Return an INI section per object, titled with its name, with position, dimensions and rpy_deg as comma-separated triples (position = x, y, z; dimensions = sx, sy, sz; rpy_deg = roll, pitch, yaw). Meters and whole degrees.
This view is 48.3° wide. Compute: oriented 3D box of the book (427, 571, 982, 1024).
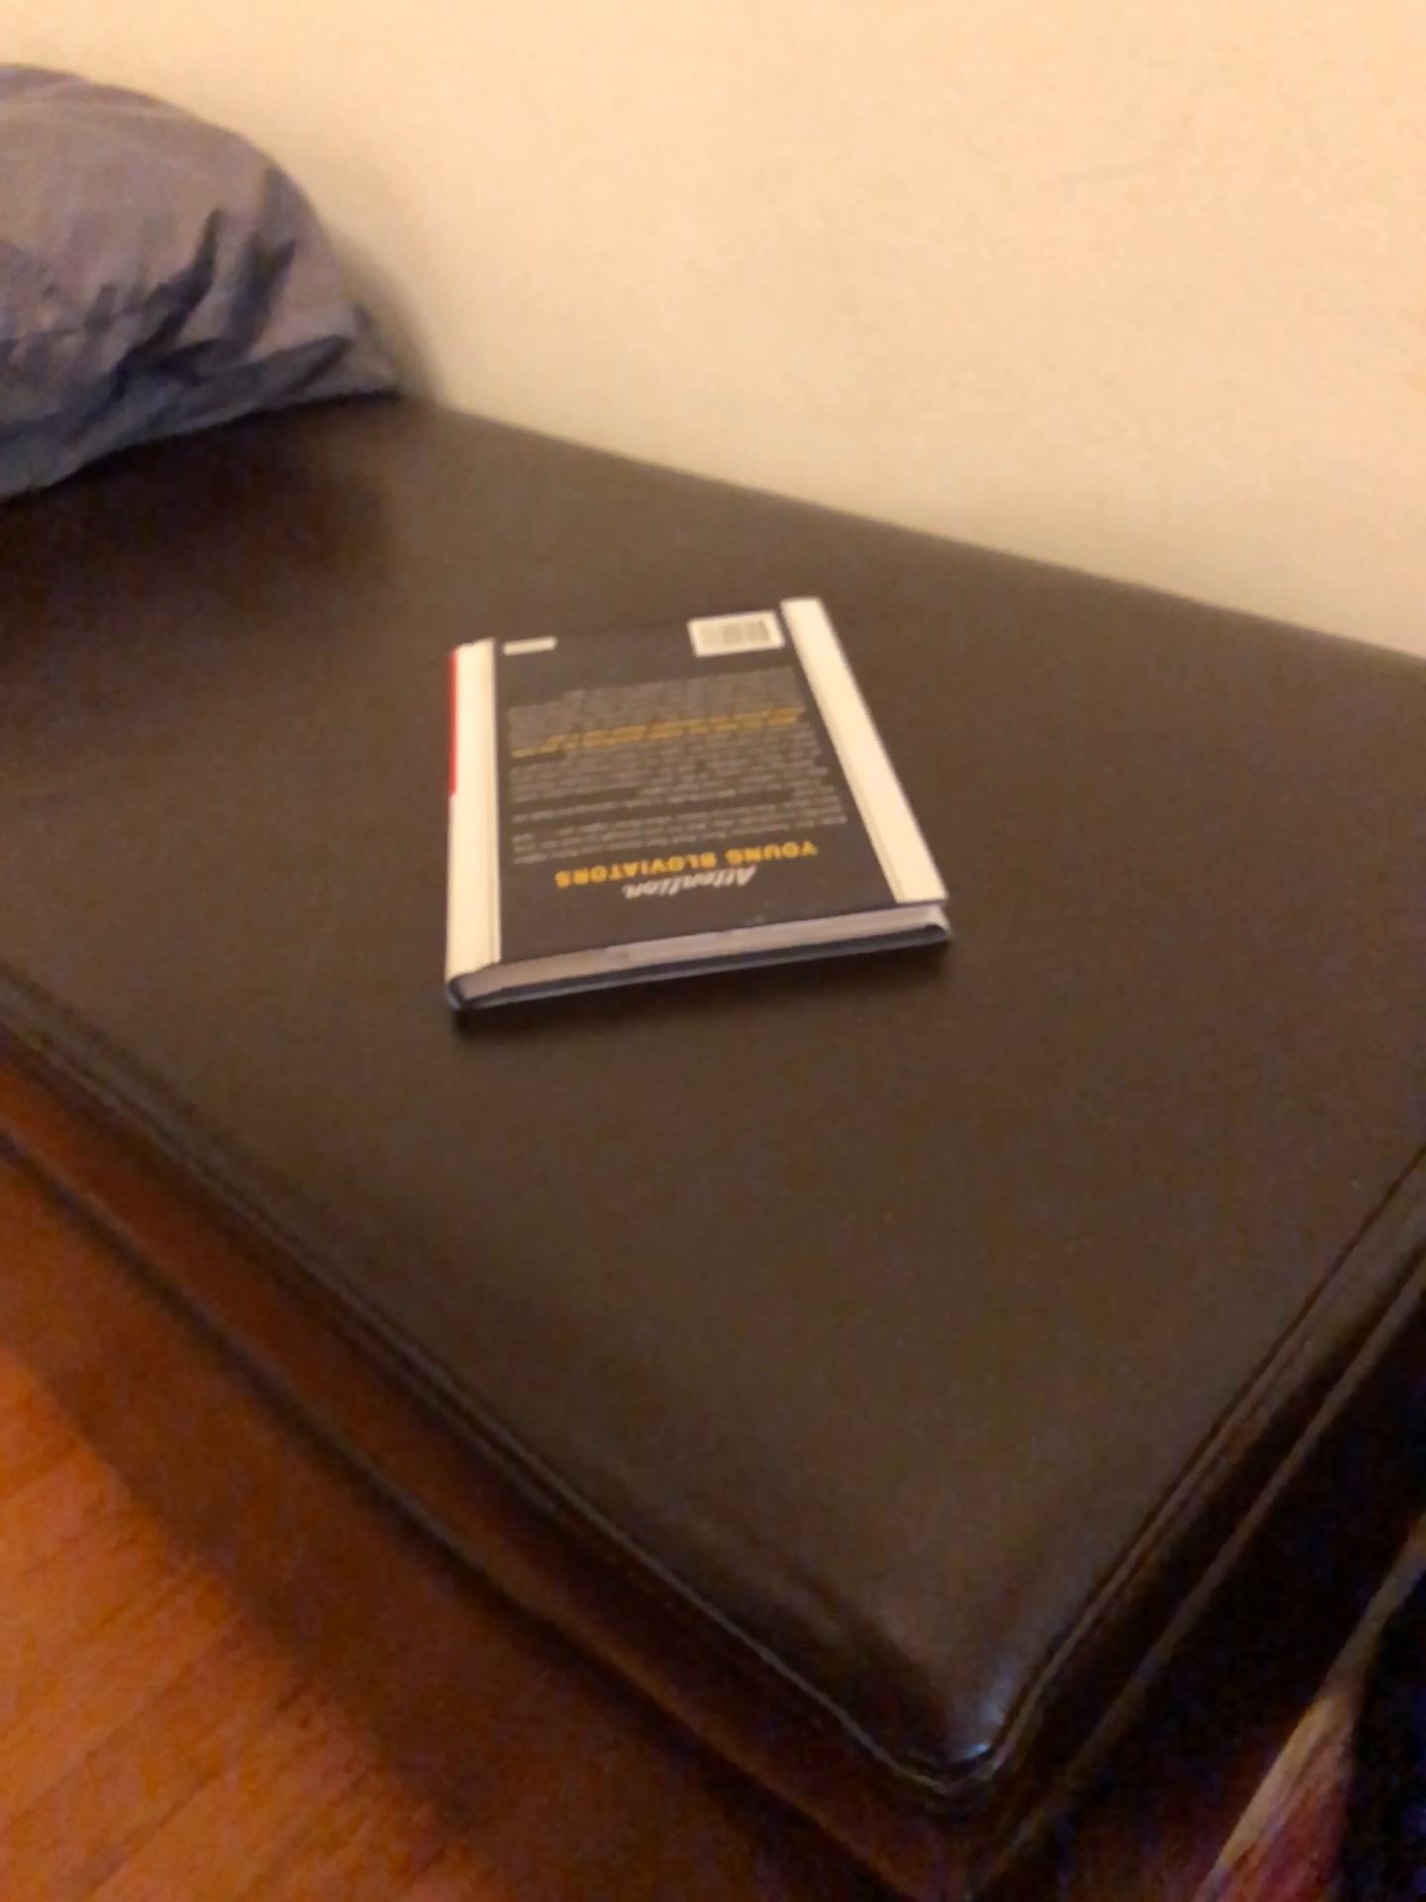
[book]
position = -0.016, -0.066, 0.551
dimensions = 0.160, 0.020, 0.231
rpy_deg = -8, 37, -3
